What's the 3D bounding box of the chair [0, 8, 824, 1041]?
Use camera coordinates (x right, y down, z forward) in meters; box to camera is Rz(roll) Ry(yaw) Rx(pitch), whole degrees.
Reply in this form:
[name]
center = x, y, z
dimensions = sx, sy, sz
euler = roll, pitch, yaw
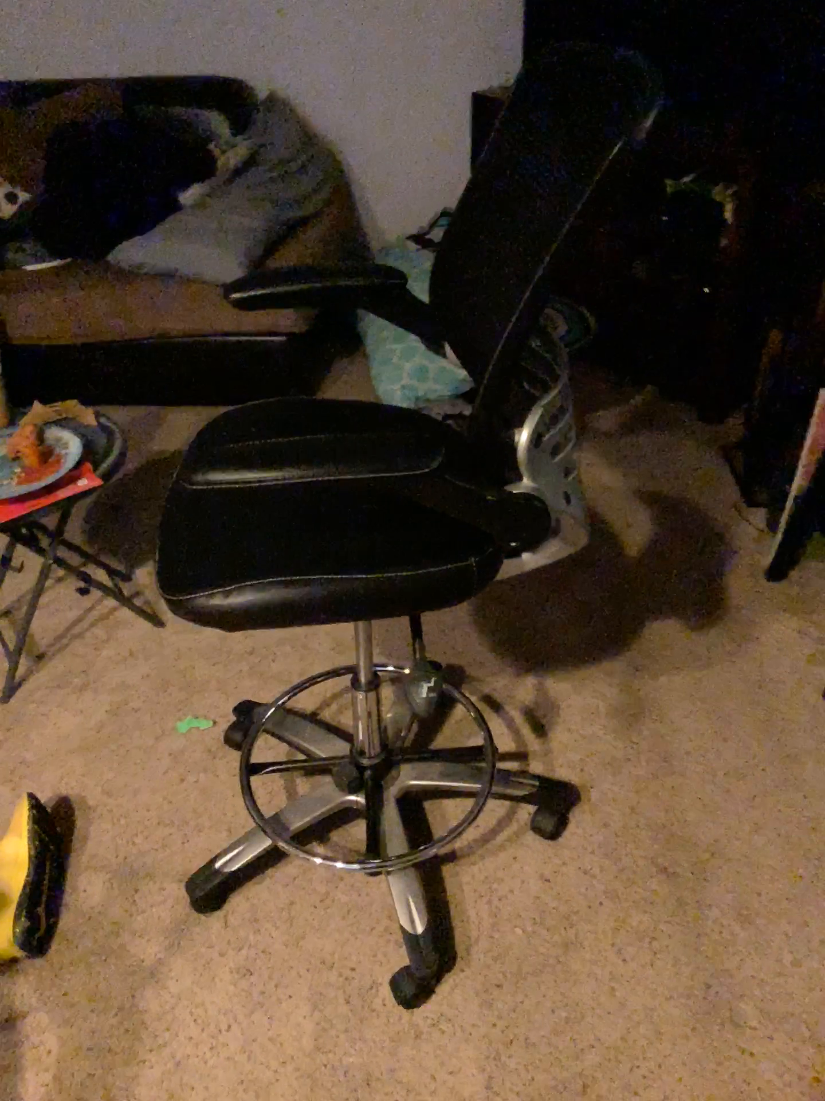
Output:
[chair]
center = -0.048, -0.034, 1.247
dimensions = 0.700, 1.120, 0.780
euler = -4, 37, -3
